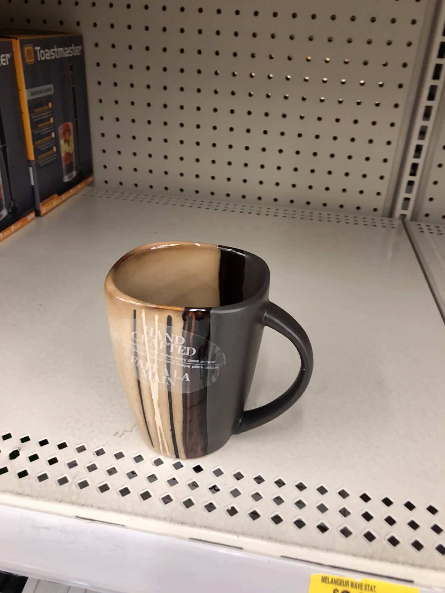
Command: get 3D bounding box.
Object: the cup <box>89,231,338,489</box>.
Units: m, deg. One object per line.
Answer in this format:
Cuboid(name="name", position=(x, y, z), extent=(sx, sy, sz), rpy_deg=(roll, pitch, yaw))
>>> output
Cuboid(name="cup", position=(-0.002, 0.034, 0.299), extent=(0.120, 0.110, 0.087), rpy_deg=(6, 29, 6))
